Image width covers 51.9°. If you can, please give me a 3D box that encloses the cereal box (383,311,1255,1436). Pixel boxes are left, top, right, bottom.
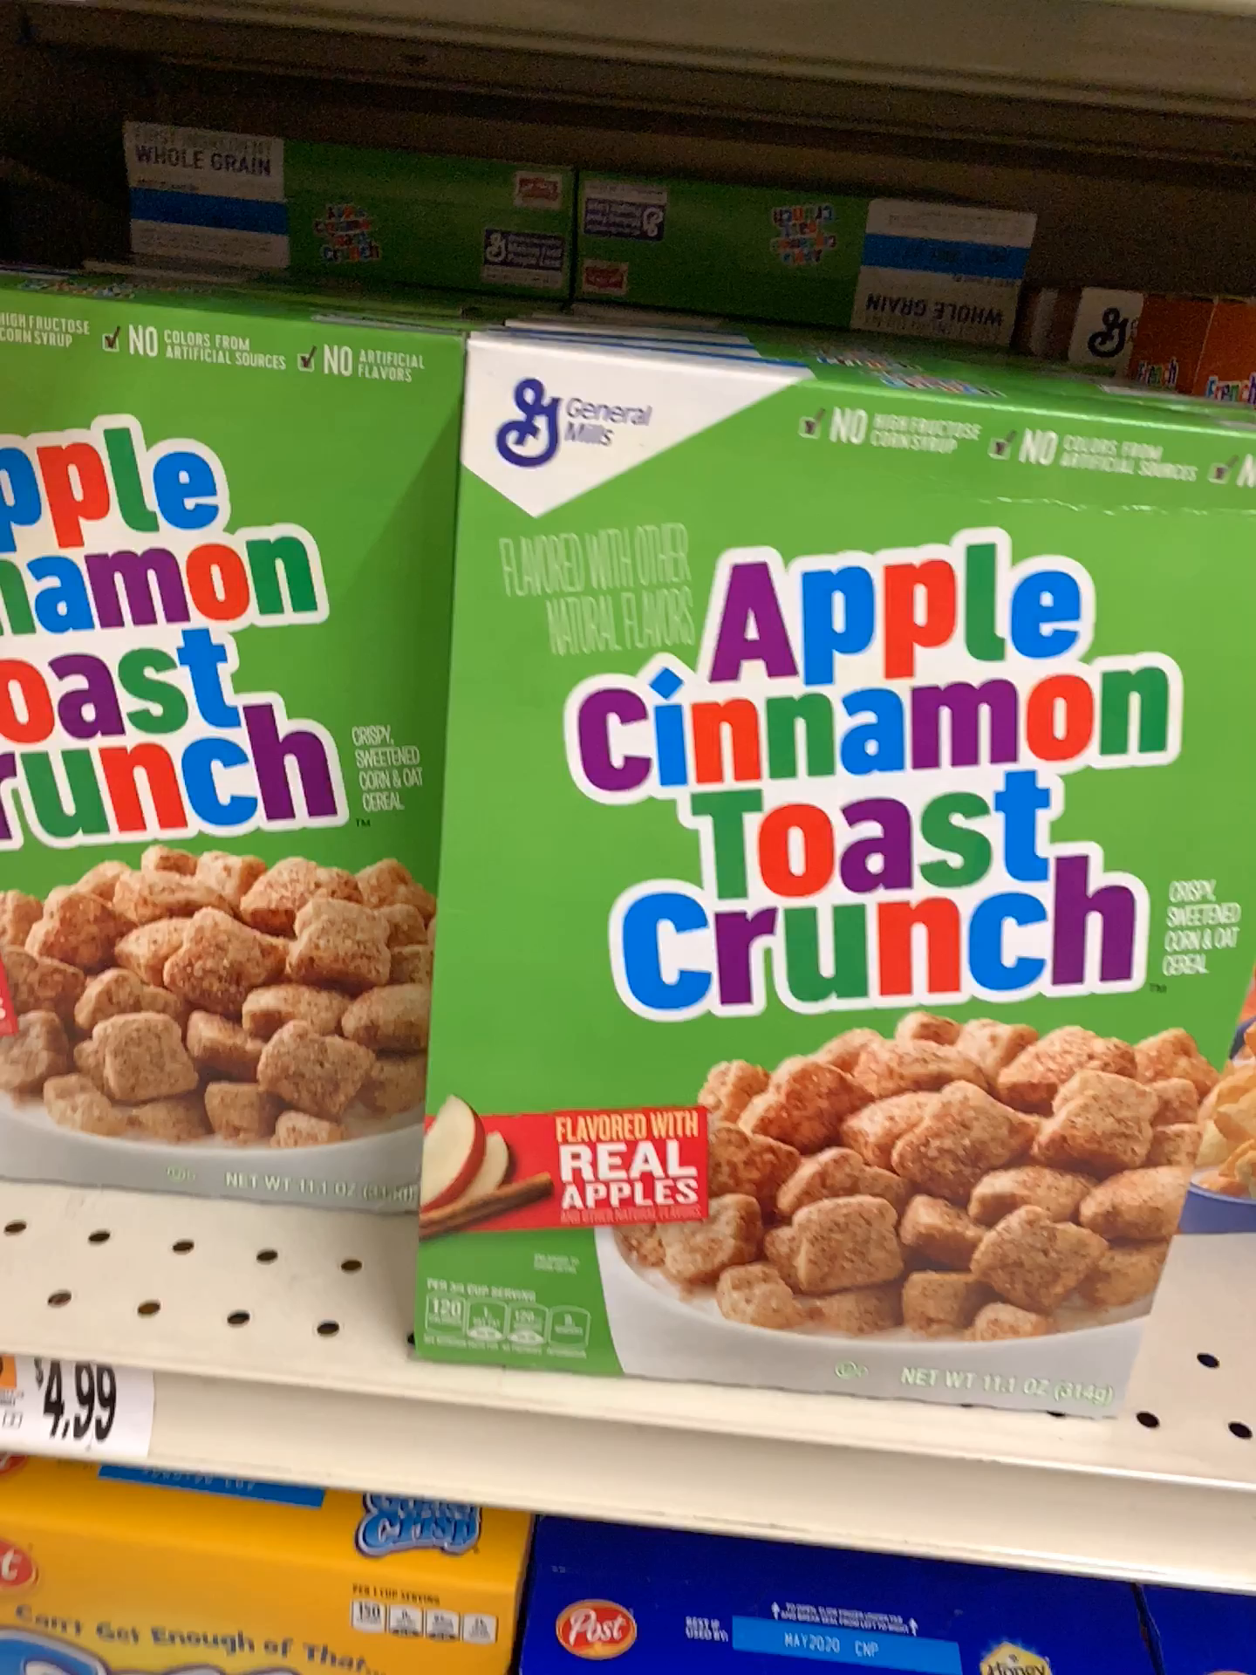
[{"bbox_3d":[0.053,0.023,0.331,0.210,0.269,0.060,6,24,-3],"label":"cereal box"}]
